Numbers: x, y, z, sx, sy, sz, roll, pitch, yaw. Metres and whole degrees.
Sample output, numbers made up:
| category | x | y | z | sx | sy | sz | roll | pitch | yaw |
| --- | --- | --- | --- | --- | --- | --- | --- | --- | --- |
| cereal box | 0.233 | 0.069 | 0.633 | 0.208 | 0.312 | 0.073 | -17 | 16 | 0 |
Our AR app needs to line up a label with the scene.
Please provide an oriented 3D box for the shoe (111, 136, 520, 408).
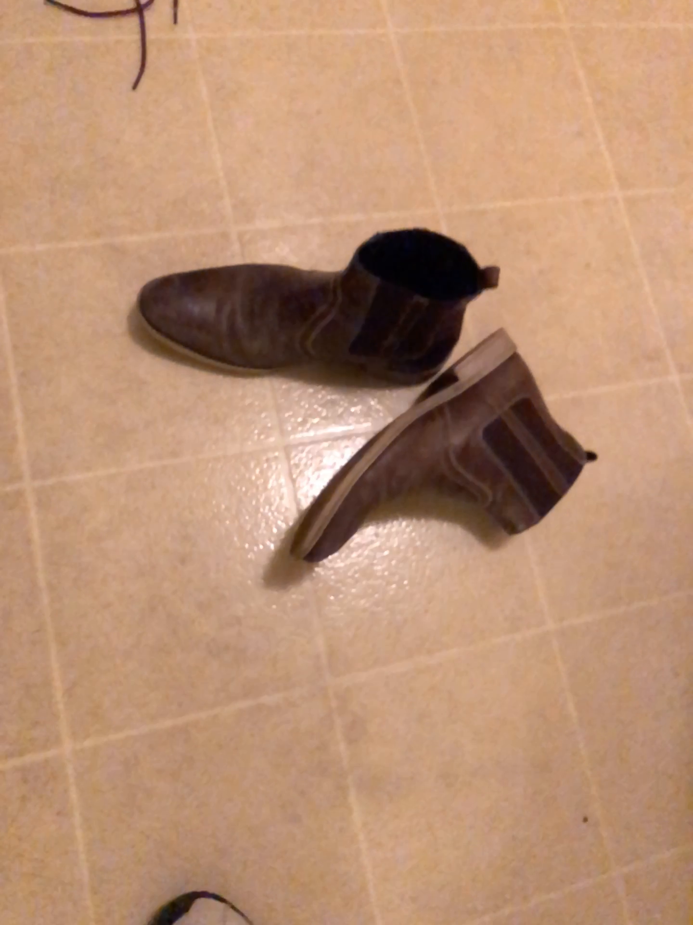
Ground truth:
| category | x | y | z | sx | sy | sz | roll | pitch | yaw |
| --- | --- | --- | --- | --- | --- | --- | --- | --- | --- |
| shoe | -0.030 | -0.152 | 0.677 | 0.313 | 0.161 | 0.111 | 10 | 75 | -10 |

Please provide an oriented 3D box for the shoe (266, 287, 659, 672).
| category | x | y | z | sx | sy | sz | roll | pitch | yaw |
| --- | --- | --- | --- | --- | --- | --- | --- | --- | --- |
| shoe | 0.104 | 0.013 | 0.695 | 0.314 | 0.111 | 0.161 | -42 | 90 | -18 |
